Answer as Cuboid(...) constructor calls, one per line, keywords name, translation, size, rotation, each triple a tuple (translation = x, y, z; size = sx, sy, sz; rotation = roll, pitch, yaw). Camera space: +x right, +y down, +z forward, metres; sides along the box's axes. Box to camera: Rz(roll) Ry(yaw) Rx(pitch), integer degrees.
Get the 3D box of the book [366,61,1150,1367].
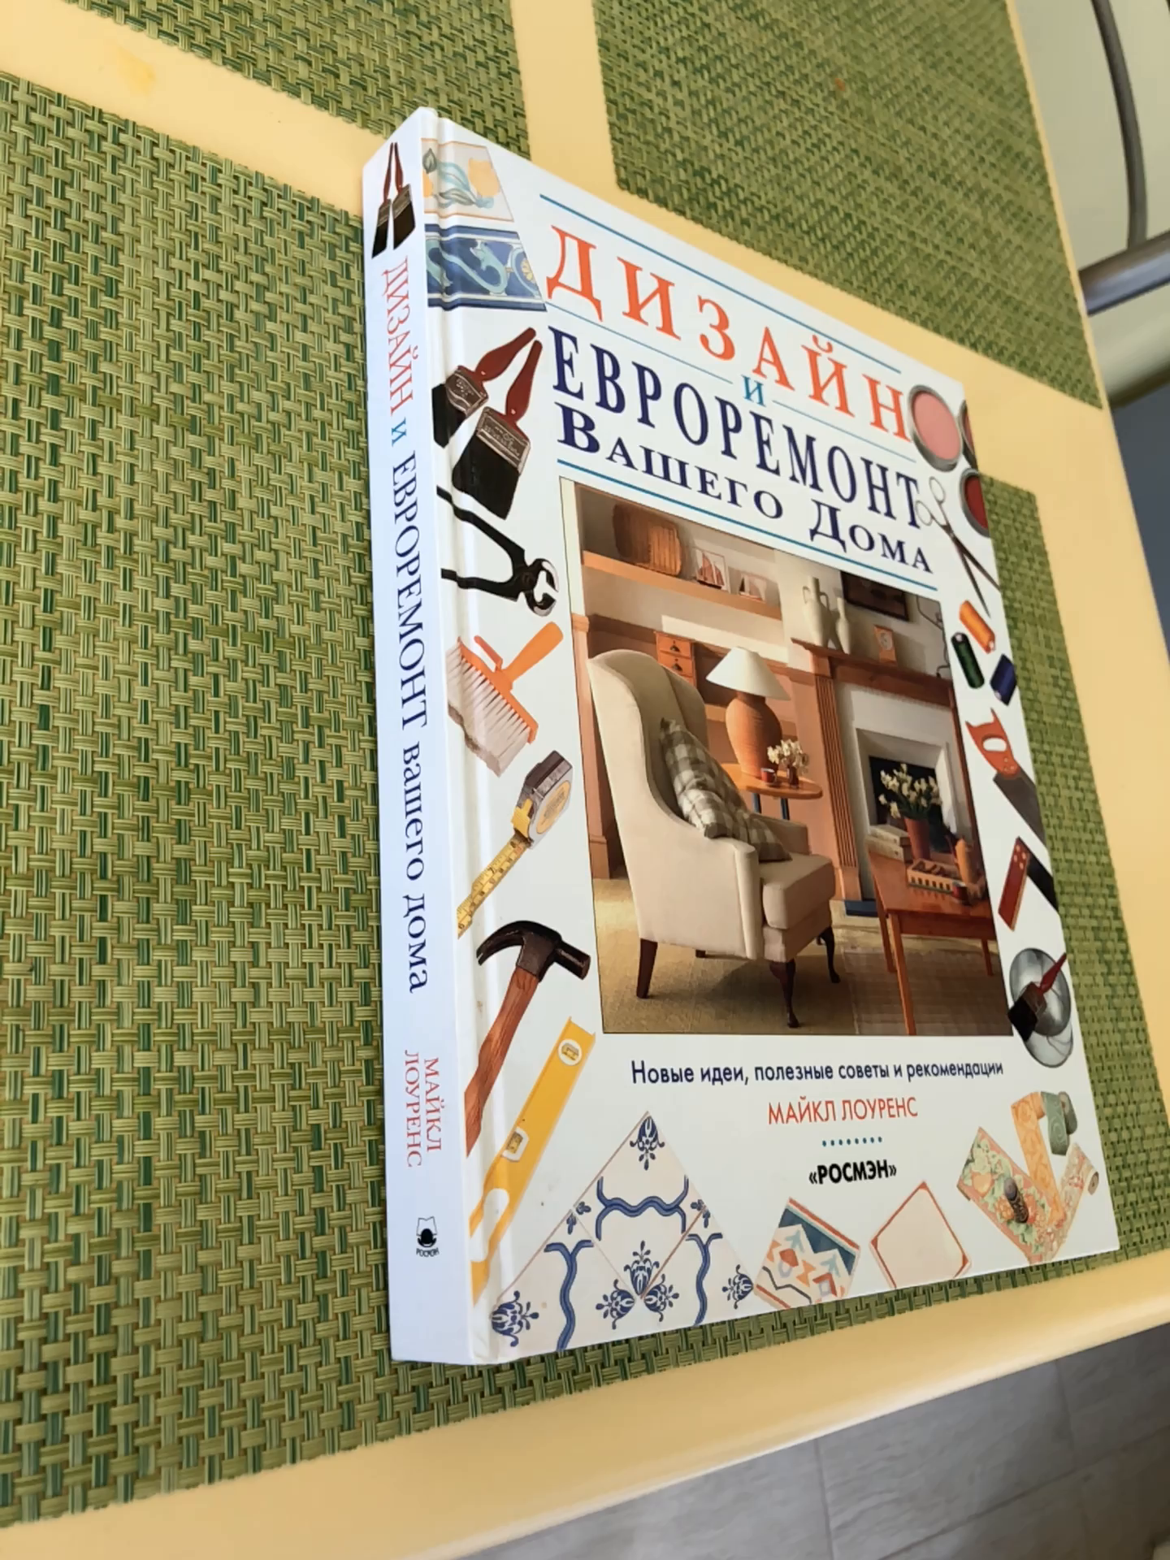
Cuboid(name="book", translation=(0.048, -0.014, 0.334), size=(0.213, 0.038, 0.276), rotation=(11, 67, -38))
